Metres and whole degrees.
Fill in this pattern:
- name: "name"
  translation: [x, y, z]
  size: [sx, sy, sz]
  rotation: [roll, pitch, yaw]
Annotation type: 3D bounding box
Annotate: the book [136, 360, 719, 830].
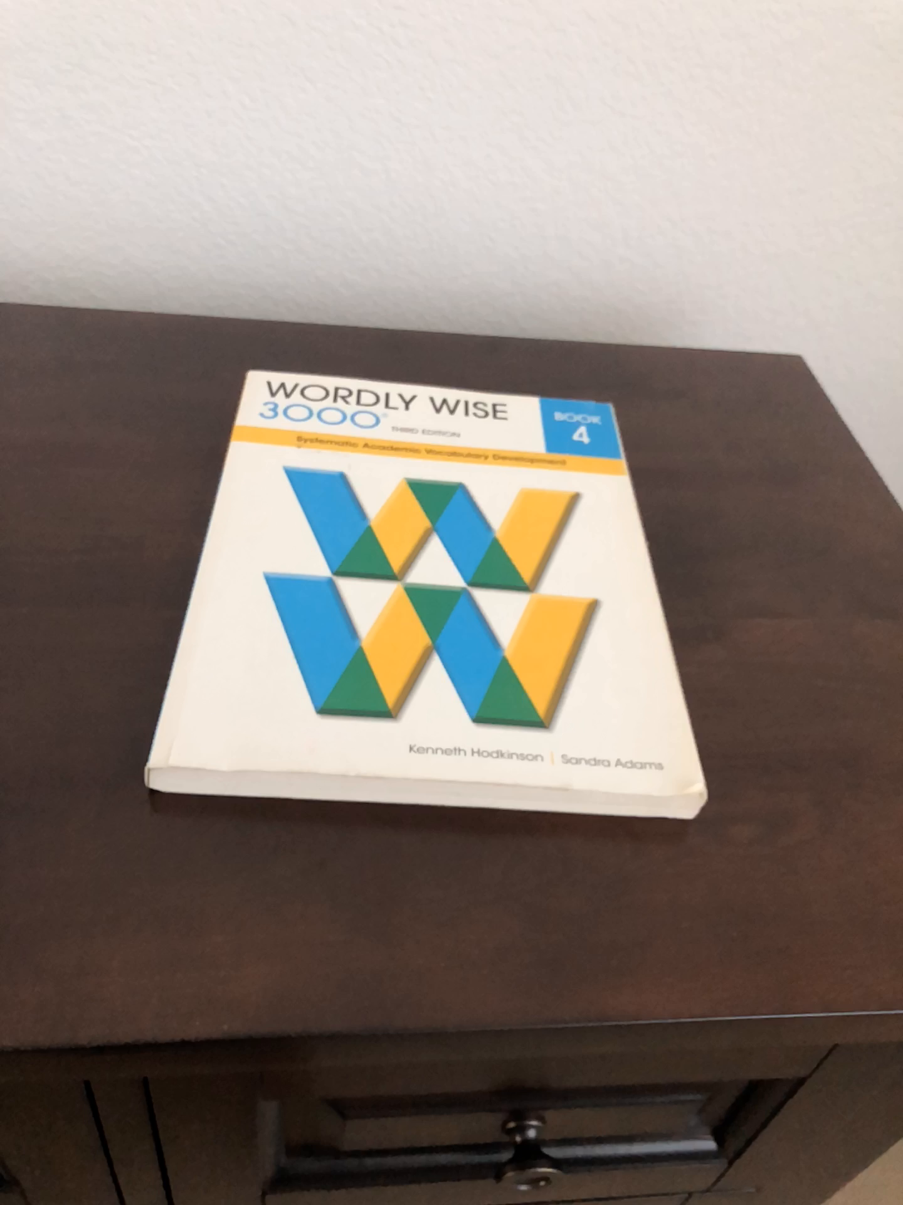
- name: "book"
  translation: [-0.009, -0.022, 0.478]
  size: [0.217, 0.020, 0.275]
  rotation: [4, 44, -5]
